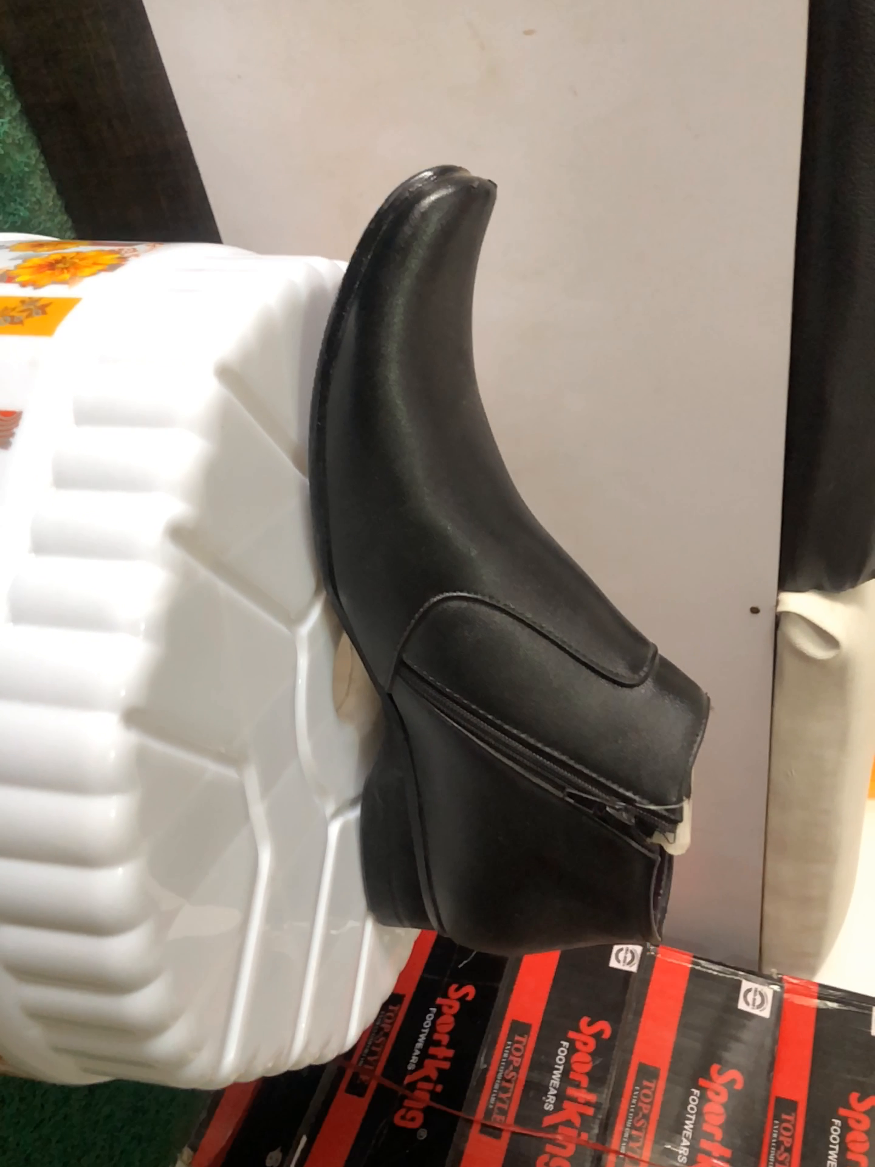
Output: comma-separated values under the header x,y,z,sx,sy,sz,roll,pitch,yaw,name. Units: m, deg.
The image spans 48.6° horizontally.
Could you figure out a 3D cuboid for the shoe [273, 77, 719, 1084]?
x,y,z,sx,sy,sz,roll,pitch,yaw,name
0.037,0.002,0.363,0.121,0.119,0.310,-38,128,-66,shoe
